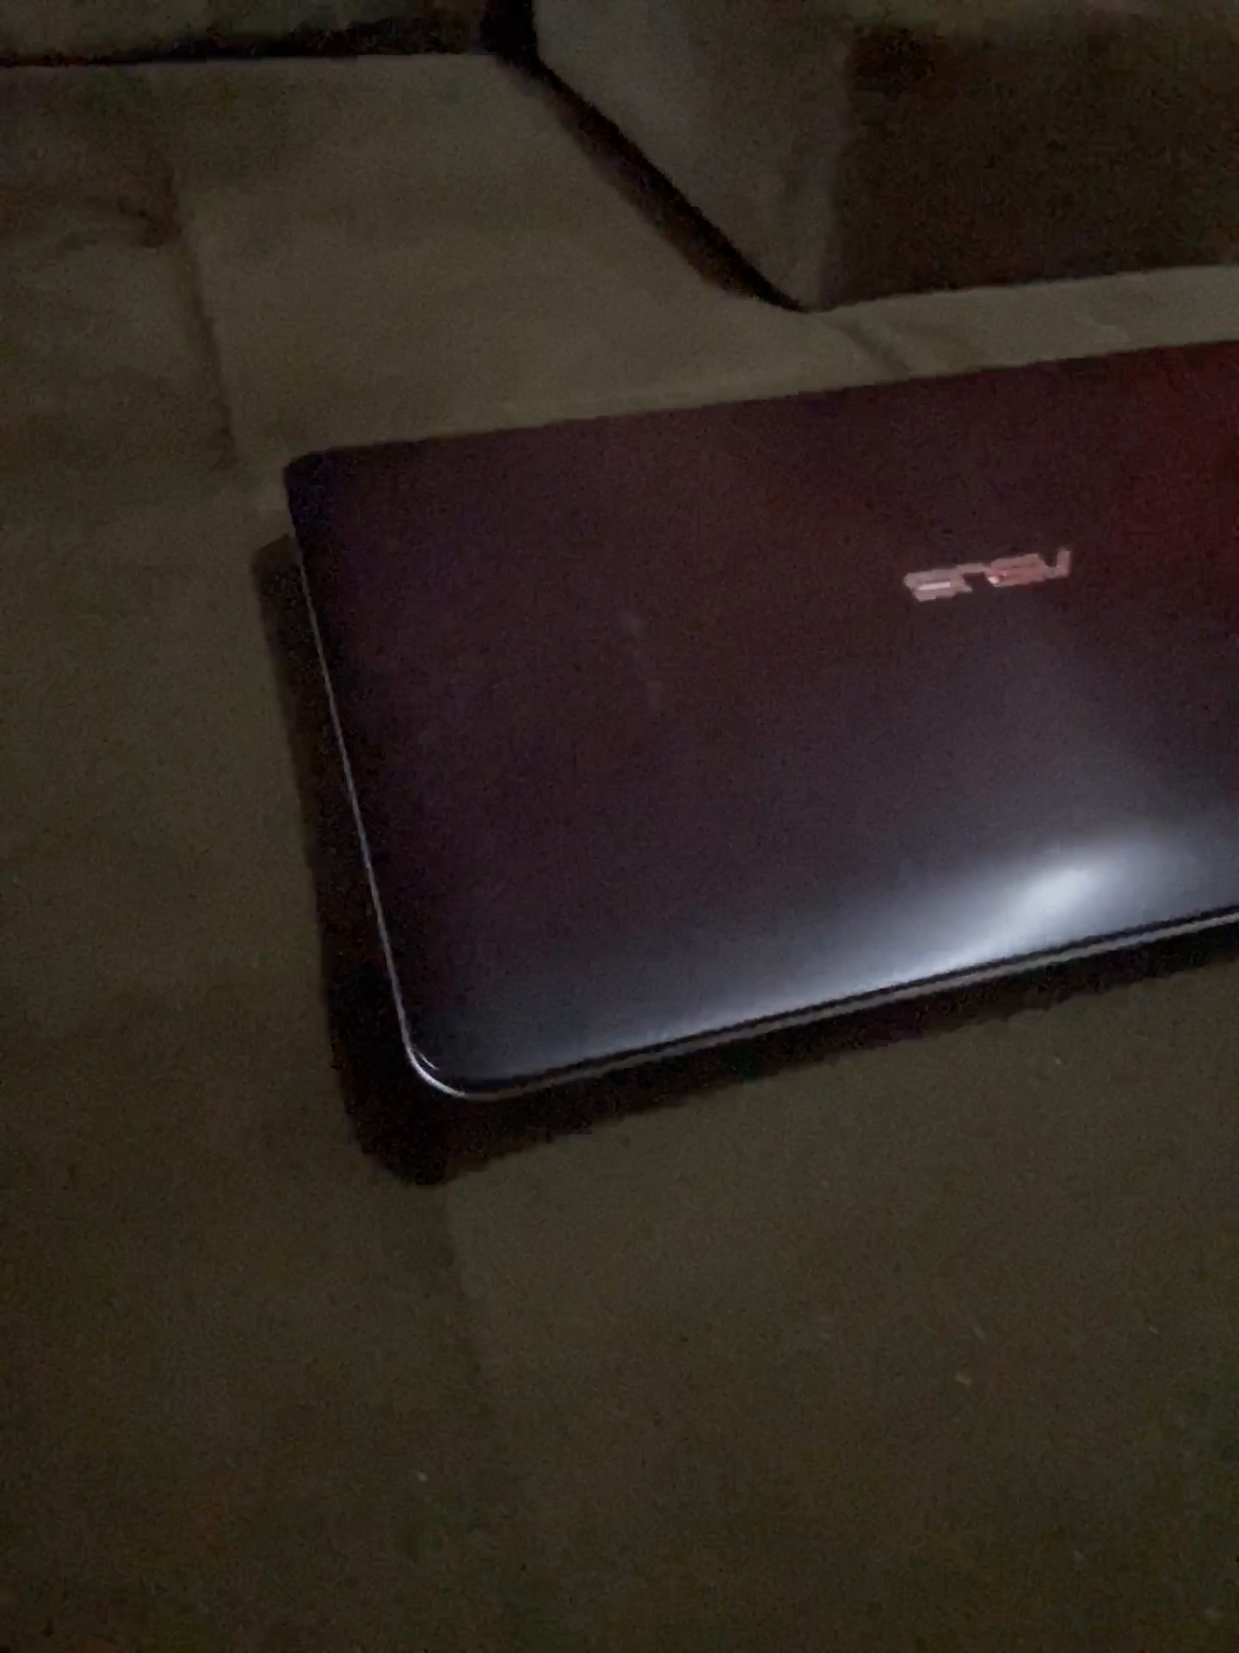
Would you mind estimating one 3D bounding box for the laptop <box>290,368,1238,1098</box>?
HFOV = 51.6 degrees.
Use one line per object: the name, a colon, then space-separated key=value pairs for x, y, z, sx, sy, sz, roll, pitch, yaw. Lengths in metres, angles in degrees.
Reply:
laptop: x=0.108 y=-0.061 z=0.363 sx=0.370 sy=0.004 sz=0.235 roll=-10 pitch=45 yaw=-13
